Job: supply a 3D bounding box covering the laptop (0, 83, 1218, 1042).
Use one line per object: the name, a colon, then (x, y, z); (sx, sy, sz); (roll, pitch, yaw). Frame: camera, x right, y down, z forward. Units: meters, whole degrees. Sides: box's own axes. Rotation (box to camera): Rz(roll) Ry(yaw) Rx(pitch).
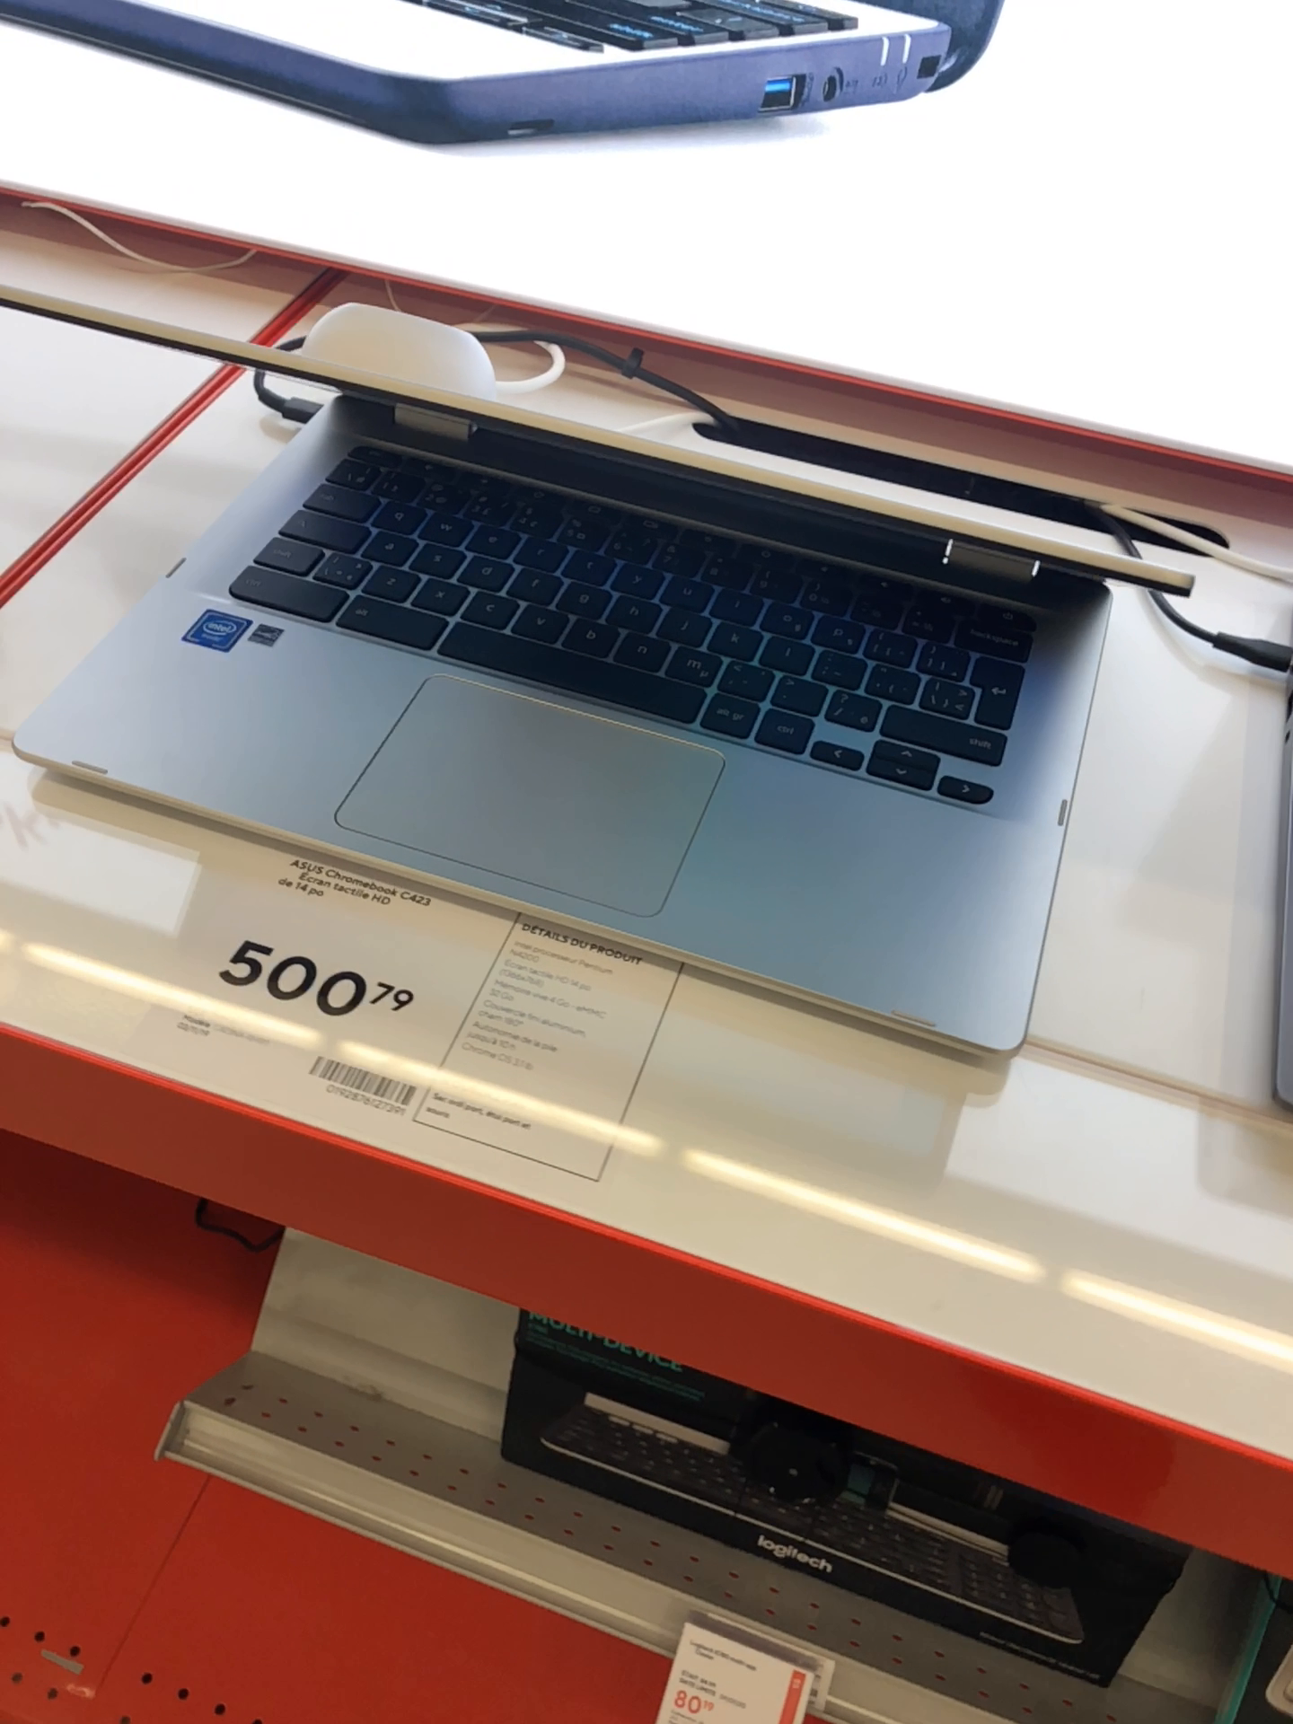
laptop: (-0.010, -0.109, 0.443); (0.311, 0.119, 0.214); (16, 50, 9)
